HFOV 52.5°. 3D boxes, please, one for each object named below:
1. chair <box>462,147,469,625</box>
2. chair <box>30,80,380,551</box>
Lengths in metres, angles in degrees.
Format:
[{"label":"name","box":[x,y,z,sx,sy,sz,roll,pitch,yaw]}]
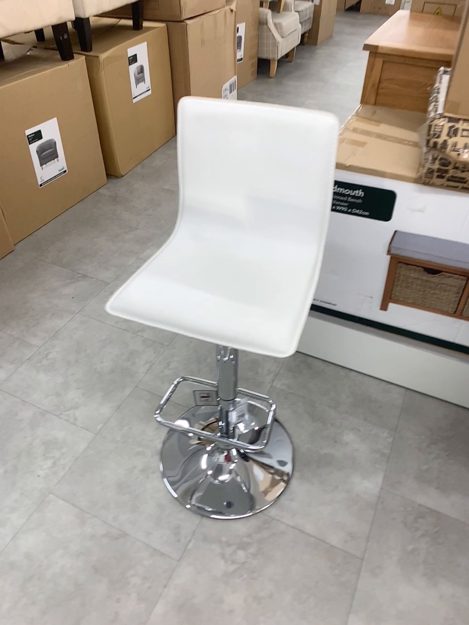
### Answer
[{"label":"chair","box":[0.898,0.211,1.022,0.470,0.910,0.445,16,44,17]},{"label":"chair","box":[-0.017,0.062,1.137,0.459,0.989,0.446,14,43,15]}]
